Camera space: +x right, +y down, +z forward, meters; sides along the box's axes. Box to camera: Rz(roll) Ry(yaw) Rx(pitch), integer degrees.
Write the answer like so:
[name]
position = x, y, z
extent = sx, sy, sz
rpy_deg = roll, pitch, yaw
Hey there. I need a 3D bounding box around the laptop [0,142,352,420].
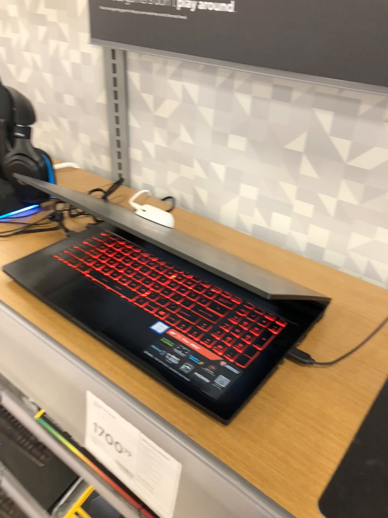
[laptop]
position = -0.043, -0.019, 0.565
extent = 0.394, 0.133, 0.248
rpy_deg = 25, 38, 30
